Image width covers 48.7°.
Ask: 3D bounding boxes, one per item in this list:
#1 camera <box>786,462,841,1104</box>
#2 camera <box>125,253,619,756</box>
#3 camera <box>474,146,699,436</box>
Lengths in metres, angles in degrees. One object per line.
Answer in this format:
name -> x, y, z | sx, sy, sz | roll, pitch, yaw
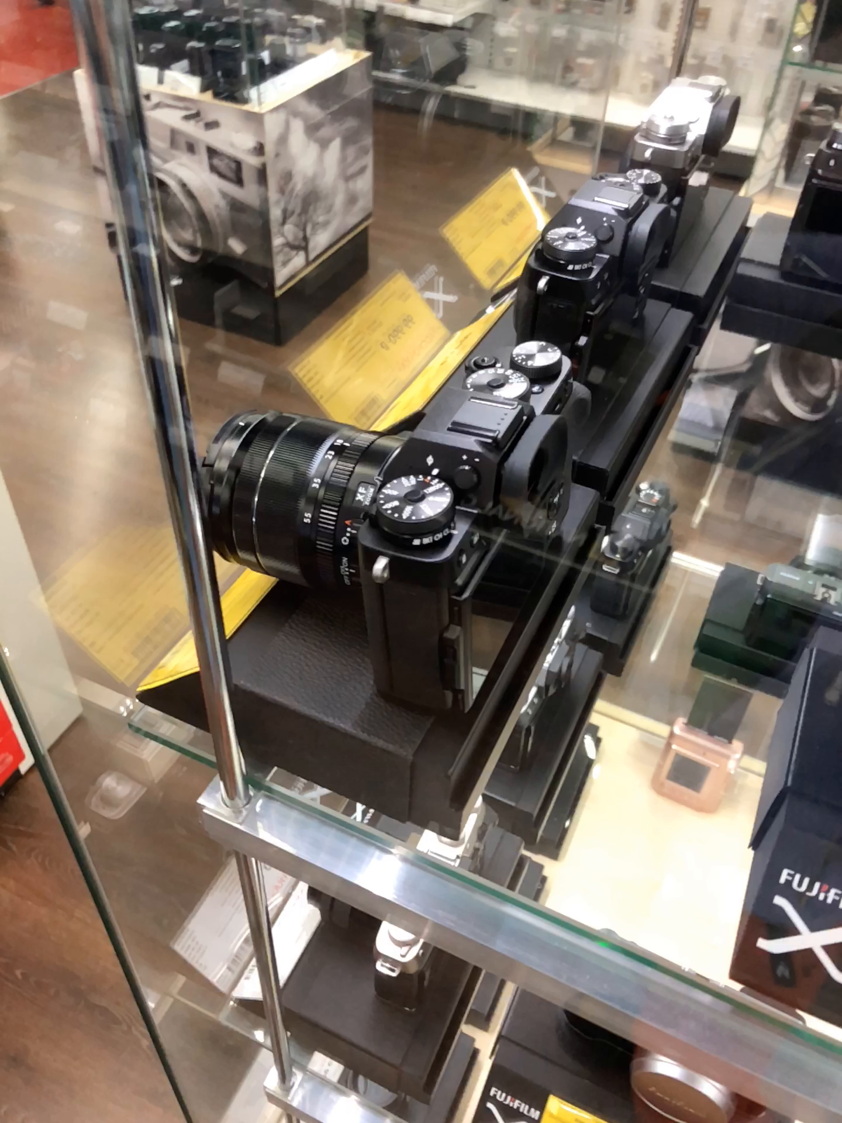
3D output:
camera -> 0.195, 0.055, 0.273 | 0.125, 0.088, 0.116 | 21, 46, 18
camera -> -0.011, -0.028, 0.342 | 0.119, 0.099, 0.129 | 18, 45, 15
camera -> 0.085, -0.142, 0.476 | 0.066, 0.088, 0.126 | 19, 45, 17
